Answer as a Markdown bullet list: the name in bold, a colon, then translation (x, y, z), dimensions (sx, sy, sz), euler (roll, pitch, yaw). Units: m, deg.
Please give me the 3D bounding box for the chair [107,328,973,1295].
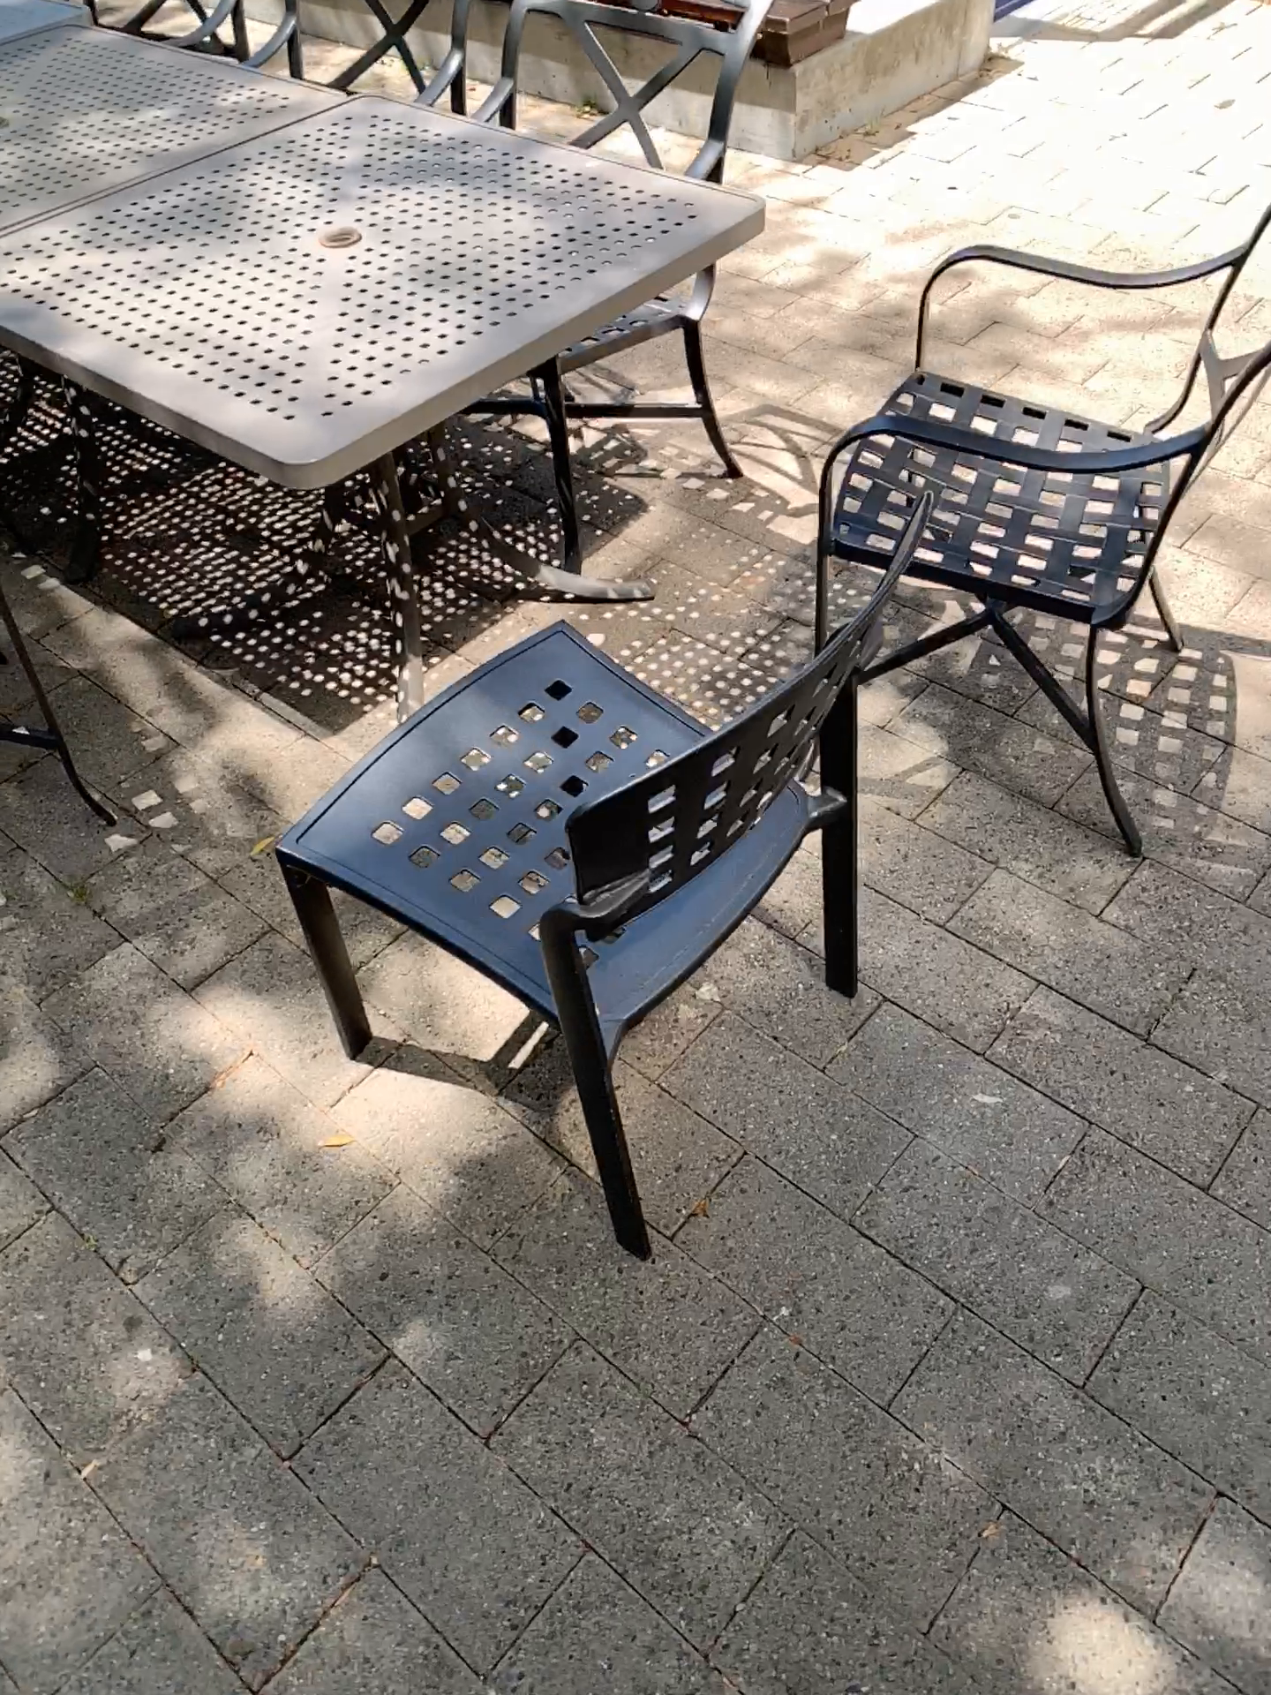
- **chair**: translation (-0.066, -0.032, 1.362), dimensions (0.552, 0.716, 0.491), euler (30, 56, 27)
